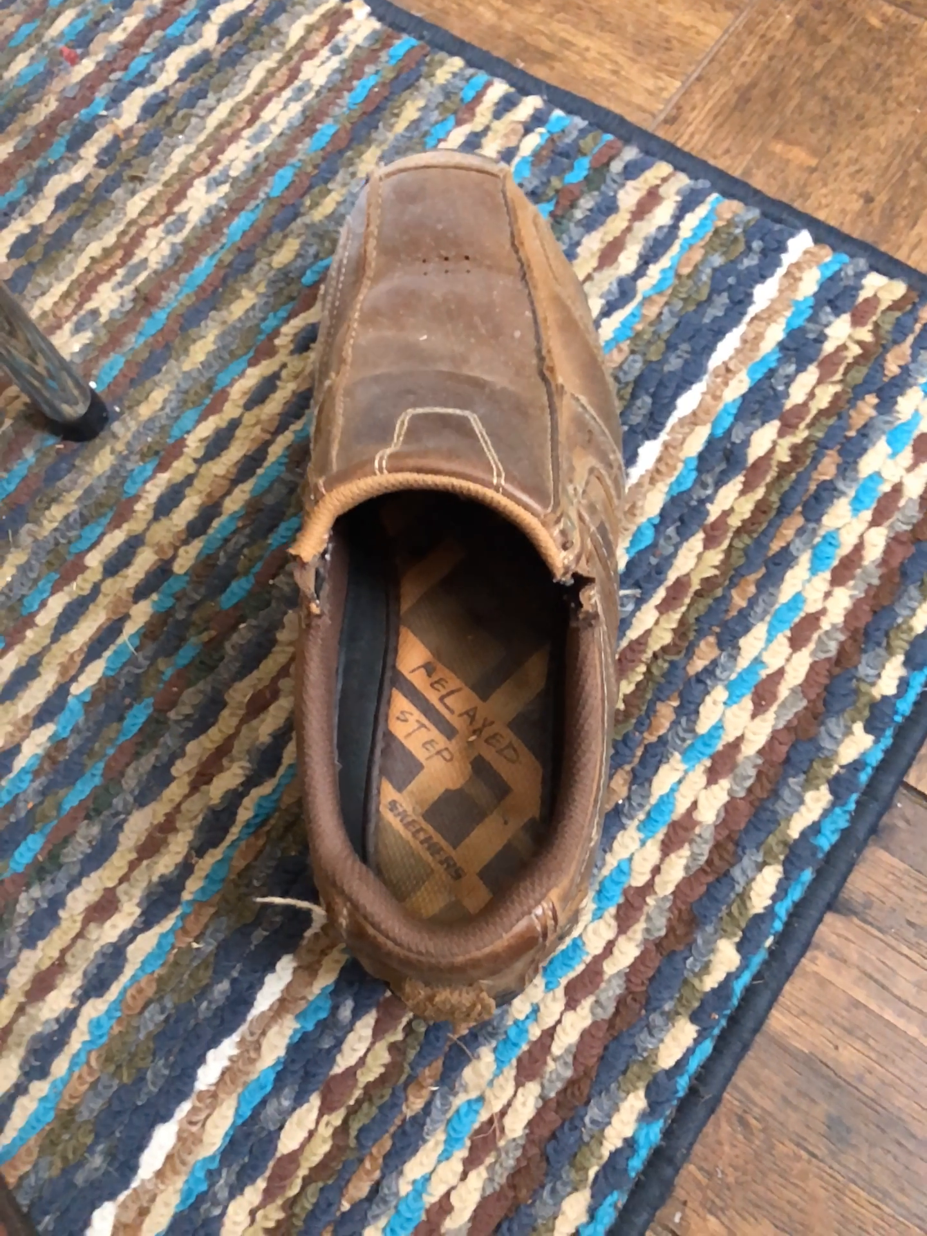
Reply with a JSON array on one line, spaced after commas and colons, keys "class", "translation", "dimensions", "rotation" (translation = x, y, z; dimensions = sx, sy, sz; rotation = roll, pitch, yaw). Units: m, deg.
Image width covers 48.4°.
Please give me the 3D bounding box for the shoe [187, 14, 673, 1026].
[{"class": "shoe", "translation": [-0.004, -0.031, 0.307], "dimensions": [0.100, 0.100, 0.280], "rotation": [0, 70, 2]}]
